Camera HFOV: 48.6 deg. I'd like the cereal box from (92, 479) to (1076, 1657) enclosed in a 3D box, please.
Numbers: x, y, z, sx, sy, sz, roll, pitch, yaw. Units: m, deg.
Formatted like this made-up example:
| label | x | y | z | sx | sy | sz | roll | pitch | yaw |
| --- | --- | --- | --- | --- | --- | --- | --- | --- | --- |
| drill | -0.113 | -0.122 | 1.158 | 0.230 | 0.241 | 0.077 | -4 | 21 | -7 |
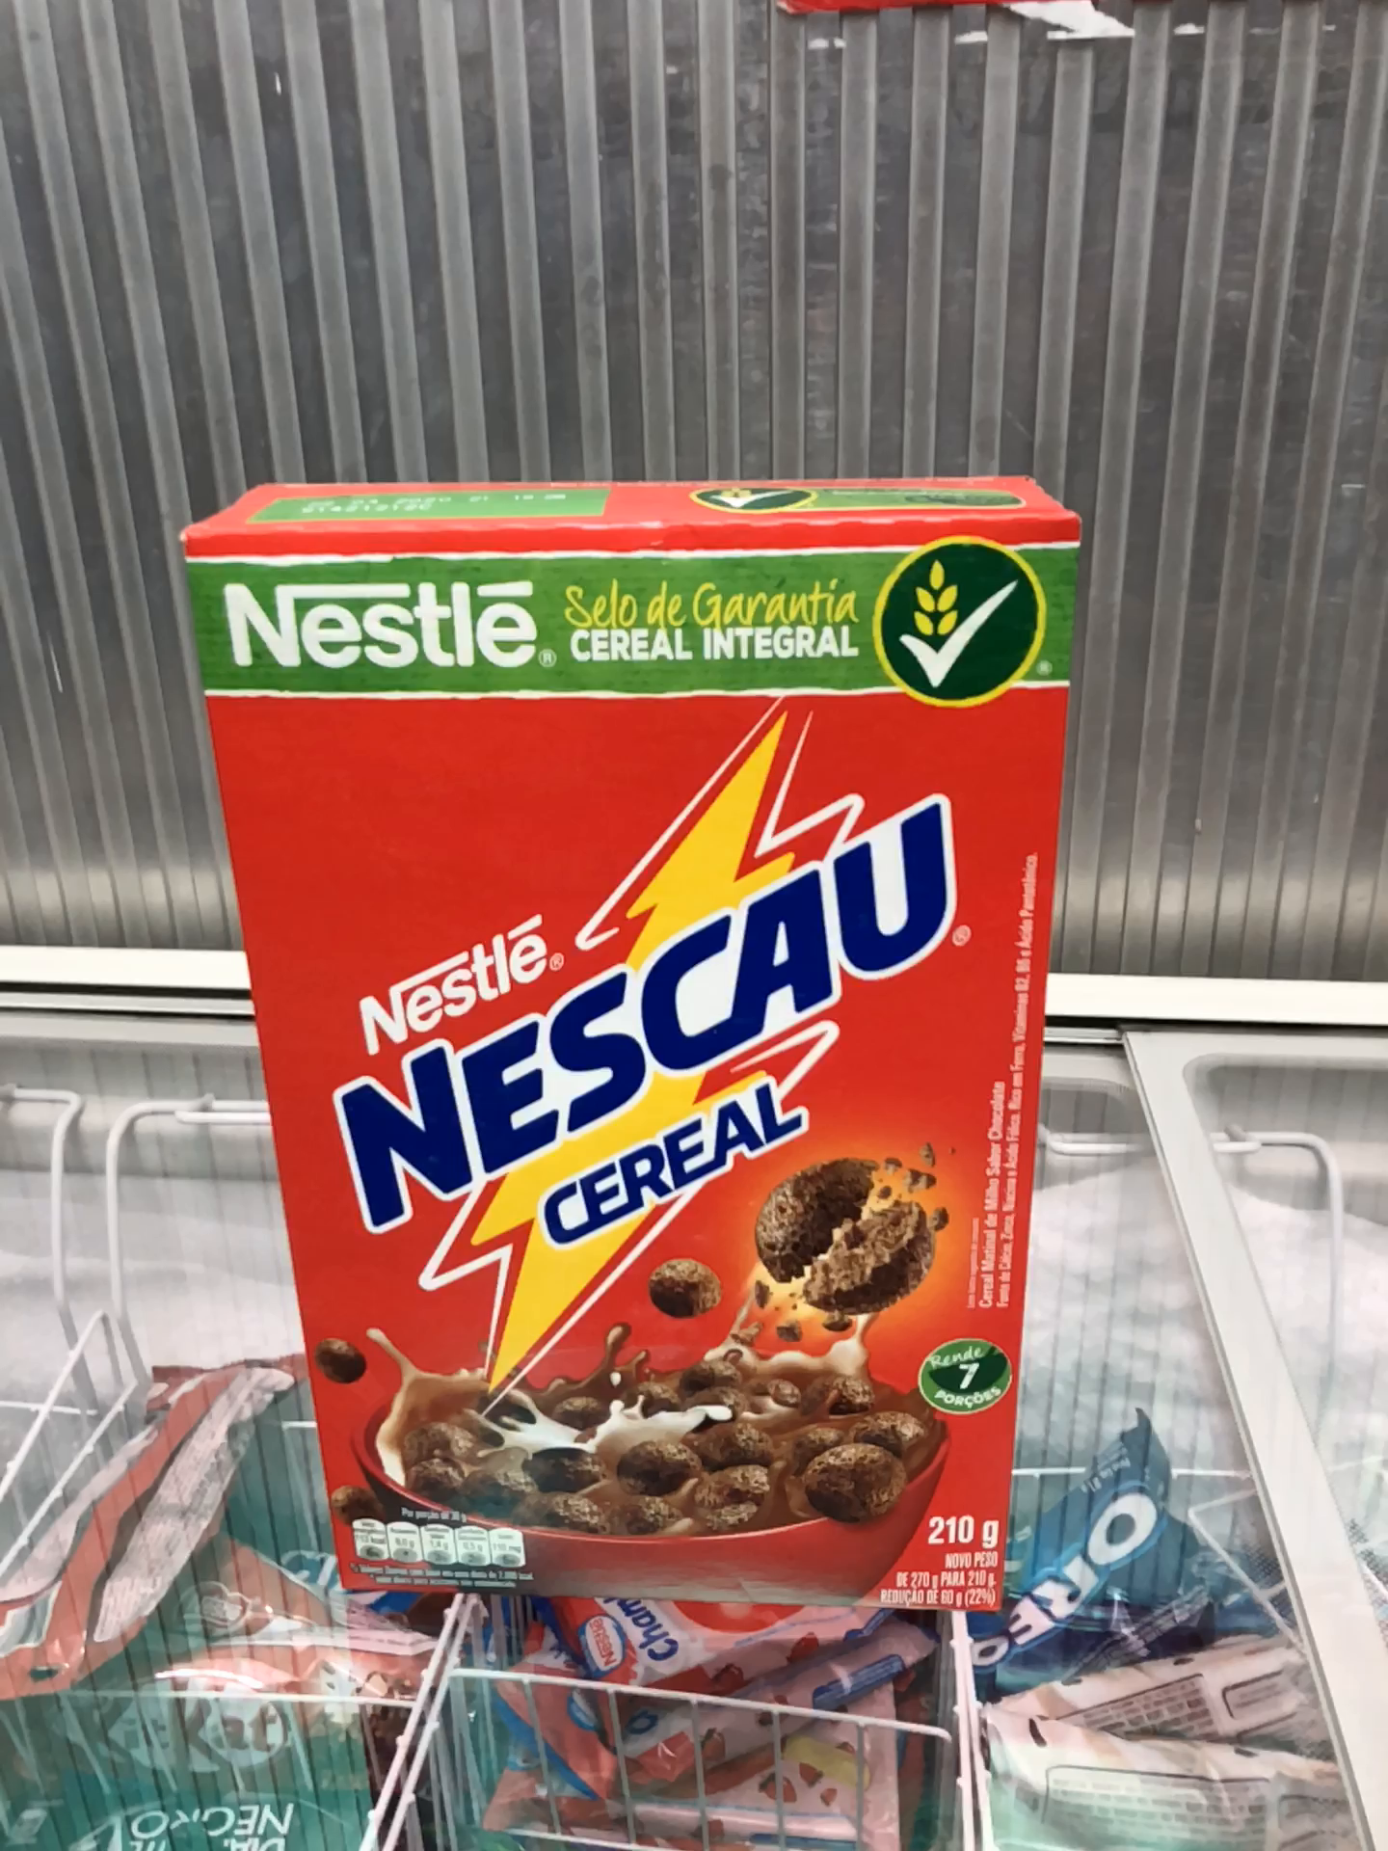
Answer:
| label | x | y | z | sx | sy | sz | roll | pitch | yaw |
| --- | --- | --- | --- | --- | --- | --- | --- | --- | --- |
| cereal box | -0.016 | 0.040 | 0.337 | 0.170 | 0.258 | 0.050 | 1 | 23 | 5 |
